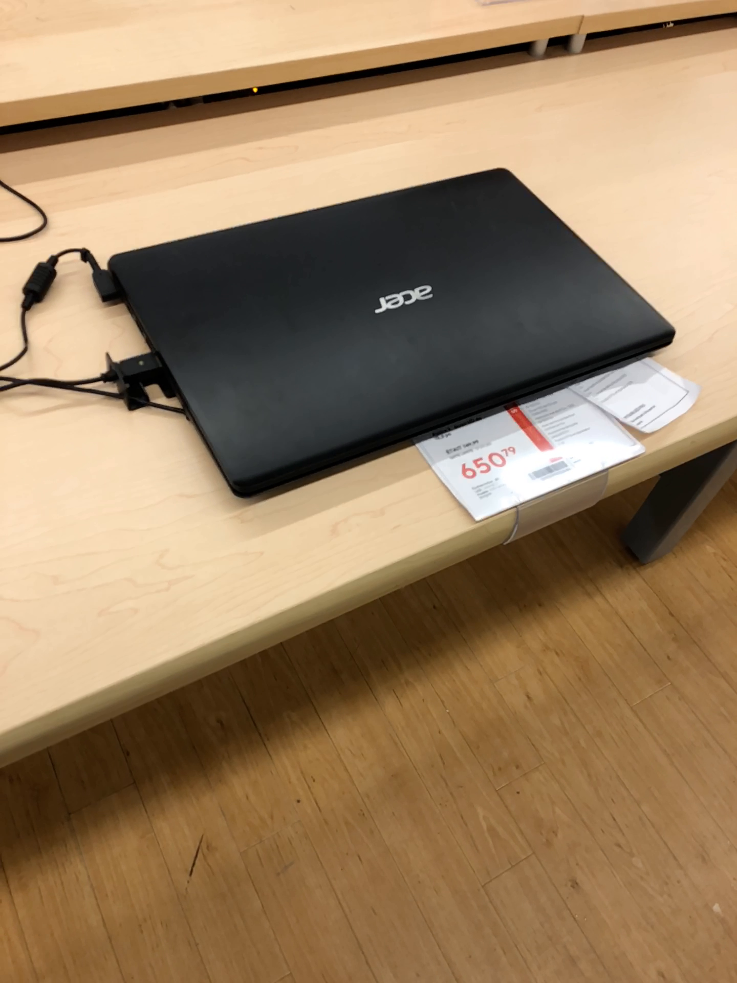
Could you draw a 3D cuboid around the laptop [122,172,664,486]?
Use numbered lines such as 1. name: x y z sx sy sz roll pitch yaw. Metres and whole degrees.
1. laptop: 0.025 -0.142 0.588 0.347 0.003 0.212 -21 60 -24
